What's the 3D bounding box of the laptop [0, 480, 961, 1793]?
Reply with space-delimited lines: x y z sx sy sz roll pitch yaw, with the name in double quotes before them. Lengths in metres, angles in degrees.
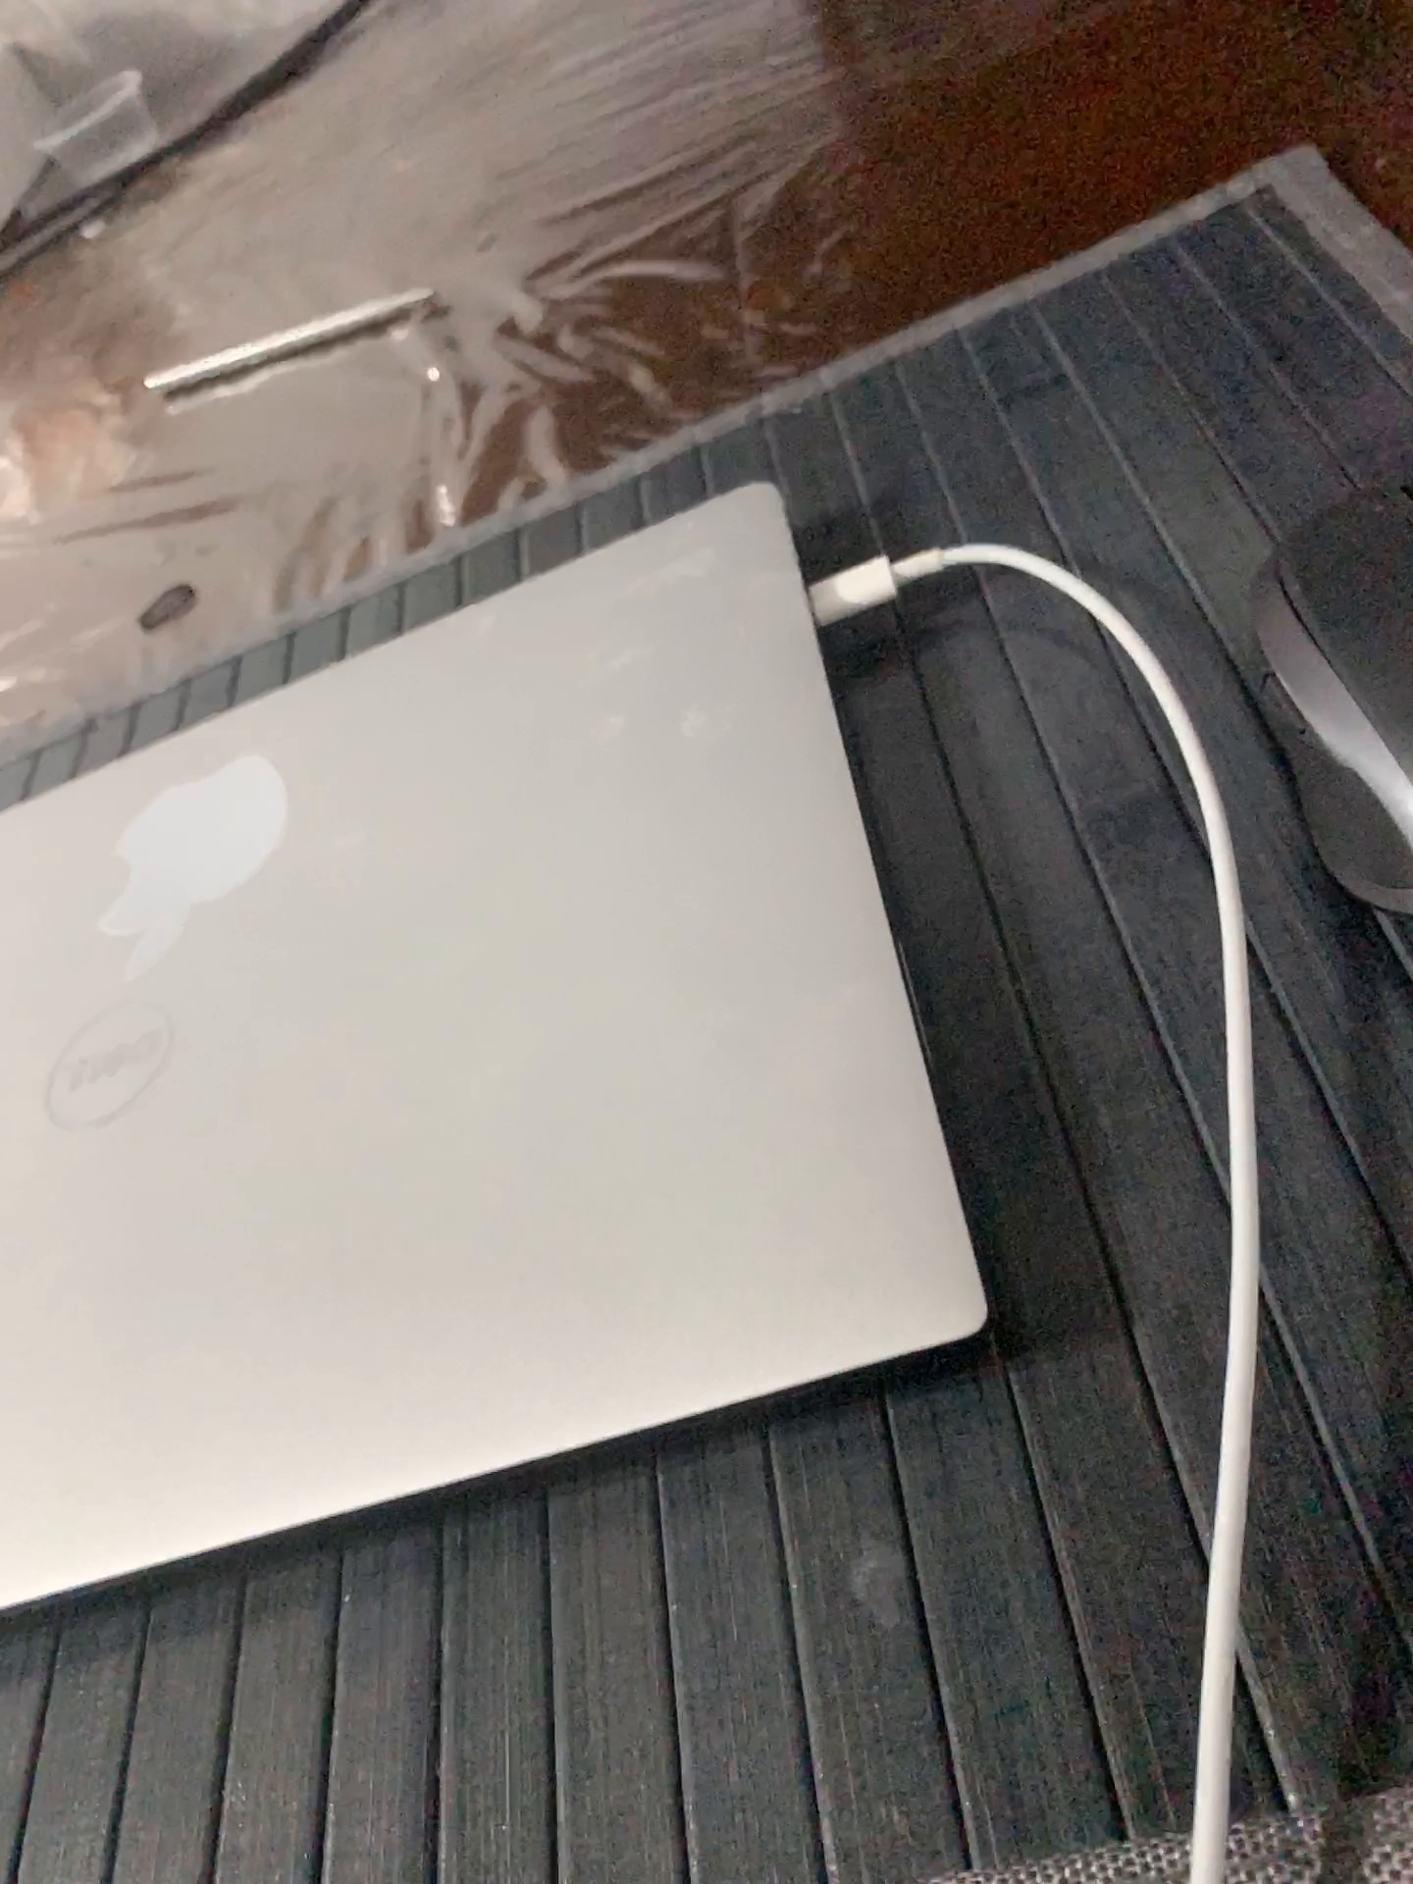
"laptop" -0.103 0.021 0.268 0.271 0.001 0.189 -20 46 14
